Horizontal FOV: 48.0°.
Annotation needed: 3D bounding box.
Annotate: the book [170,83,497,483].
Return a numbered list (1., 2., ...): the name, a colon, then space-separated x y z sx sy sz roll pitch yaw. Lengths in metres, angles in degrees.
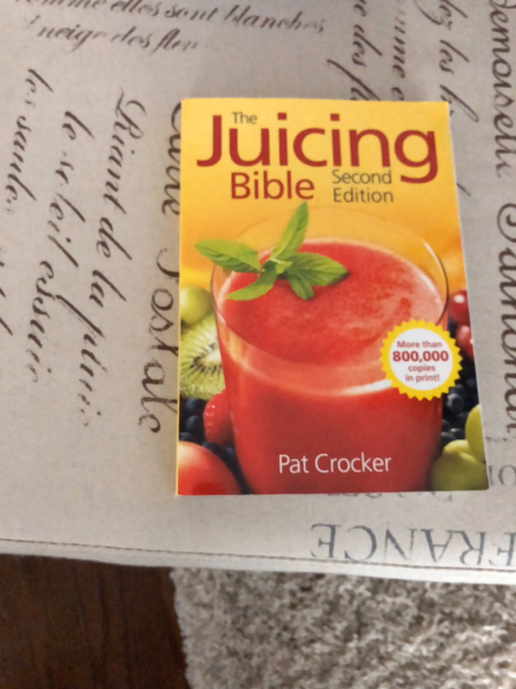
1. book: 0.041 -0.043 0.362 0.180 0.030 0.250 0 76 -2
